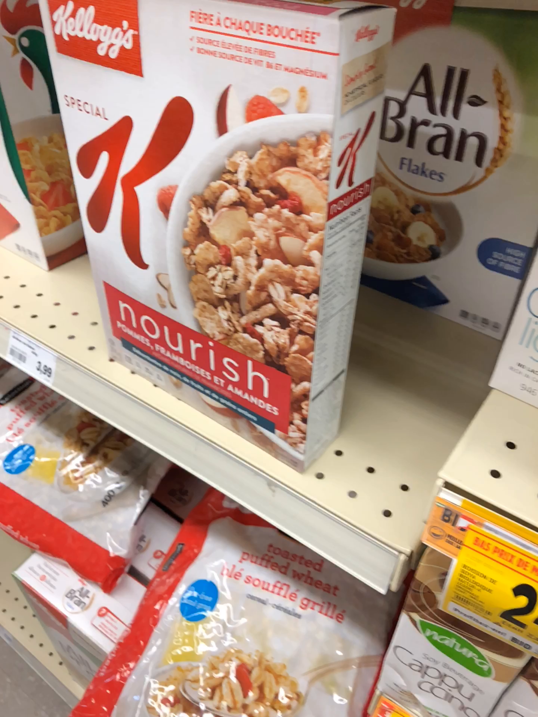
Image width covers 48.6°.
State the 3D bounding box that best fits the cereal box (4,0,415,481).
[{"bbox_3d":[-0.040,-0.079,0.348,0.201,0.248,0.060,28,45,29],"label":"cereal box"}]
